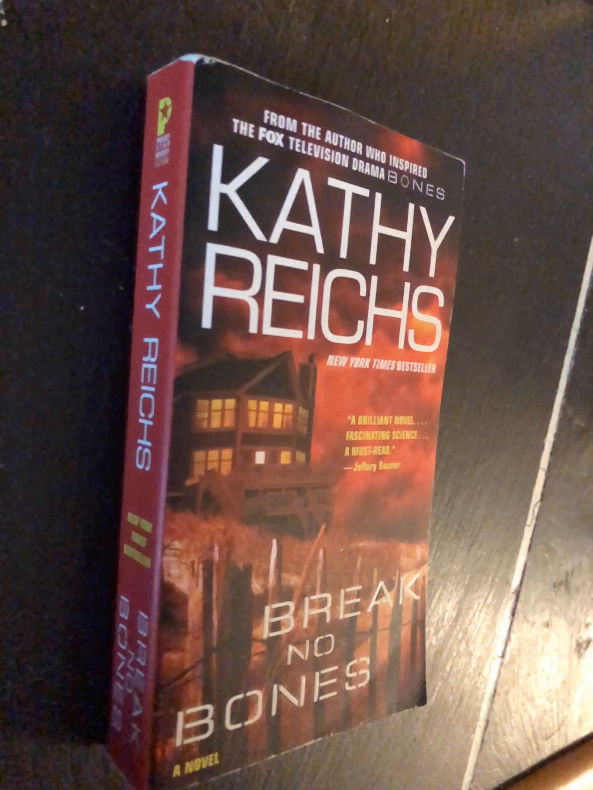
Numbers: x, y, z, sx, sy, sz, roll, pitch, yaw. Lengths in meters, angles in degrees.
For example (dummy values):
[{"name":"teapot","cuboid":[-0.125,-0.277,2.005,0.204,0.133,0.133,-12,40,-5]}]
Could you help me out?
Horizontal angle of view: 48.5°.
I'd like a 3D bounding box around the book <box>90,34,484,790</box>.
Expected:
[{"name":"book","cuboid":[0.002,0.011,0.203,0.108,0.030,0.189,3,94,-39]}]
